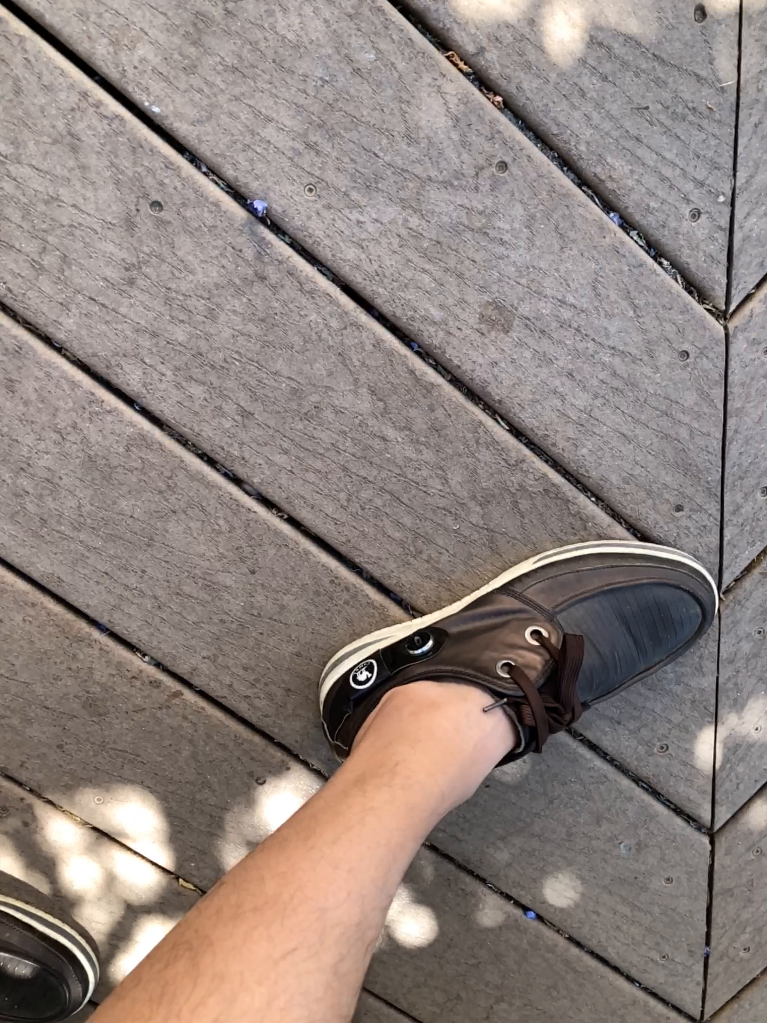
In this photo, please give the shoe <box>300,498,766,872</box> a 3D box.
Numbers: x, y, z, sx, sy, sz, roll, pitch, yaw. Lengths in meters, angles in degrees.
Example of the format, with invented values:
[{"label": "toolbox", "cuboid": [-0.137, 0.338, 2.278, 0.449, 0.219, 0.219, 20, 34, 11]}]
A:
[{"label": "shoe", "cuboid": [0.103, 0.111, 0.568, 0.295, 0.110, 0.110, -22, 112, 2]}]
